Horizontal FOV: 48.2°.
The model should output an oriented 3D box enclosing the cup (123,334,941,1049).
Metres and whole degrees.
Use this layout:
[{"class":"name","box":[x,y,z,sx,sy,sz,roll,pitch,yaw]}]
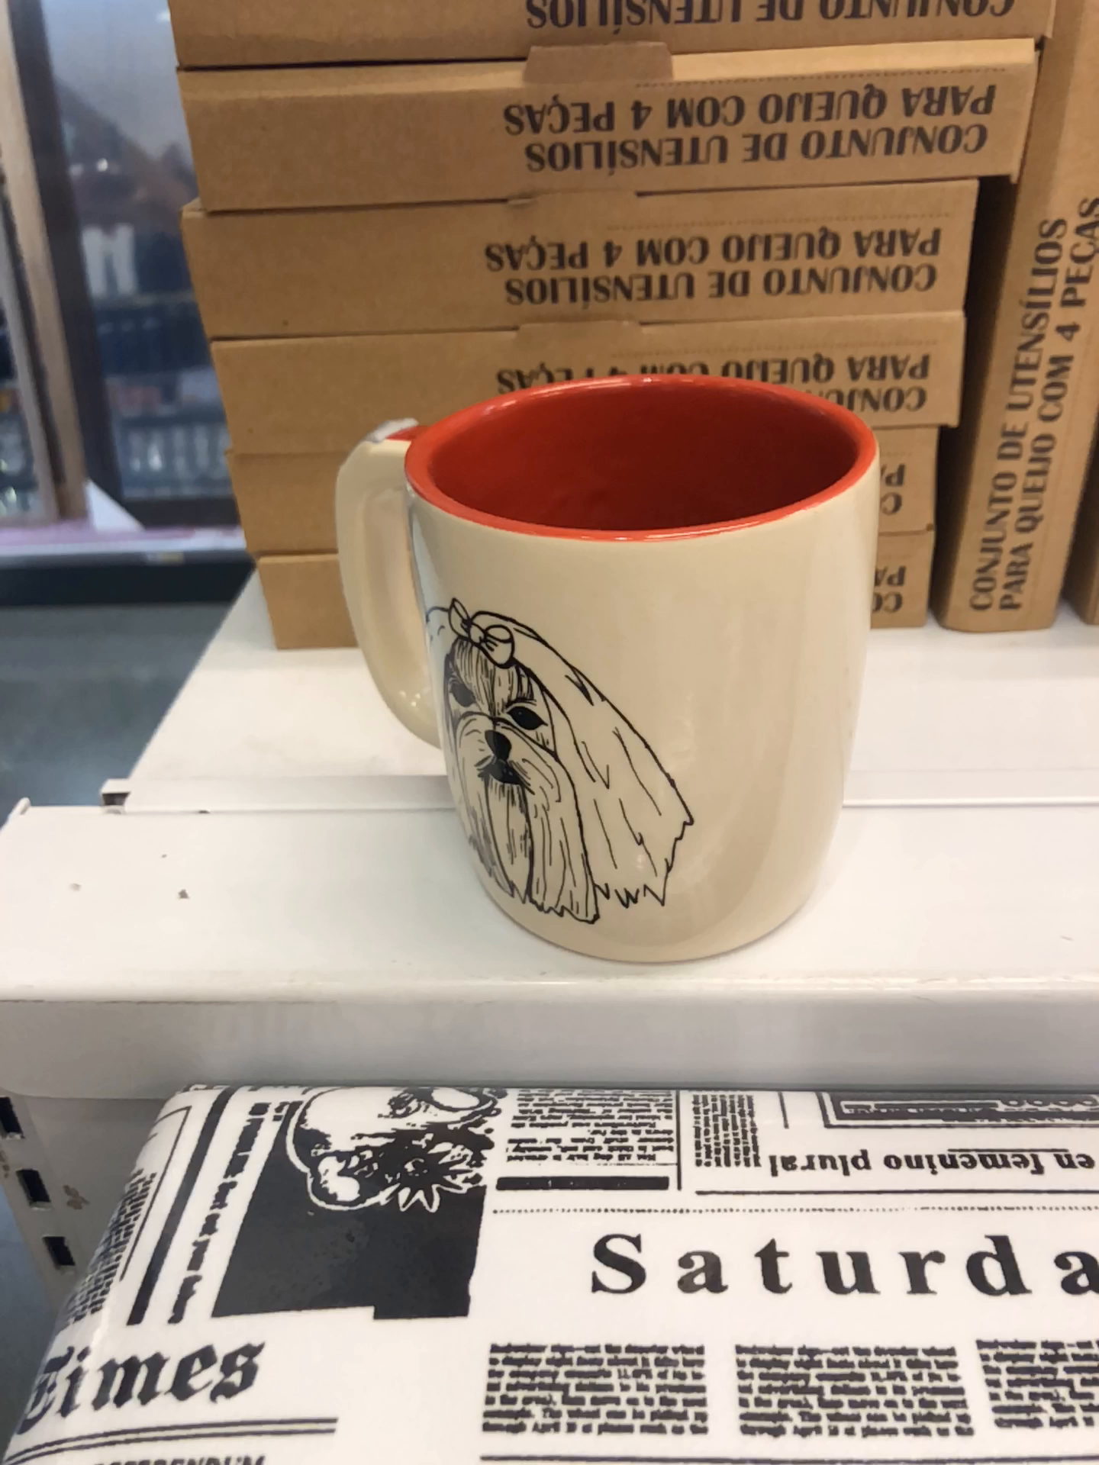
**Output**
[{"class":"cup","box":[0.002,-0.018,0.246,0.120,0.089,0.091,13,36,25]}]
